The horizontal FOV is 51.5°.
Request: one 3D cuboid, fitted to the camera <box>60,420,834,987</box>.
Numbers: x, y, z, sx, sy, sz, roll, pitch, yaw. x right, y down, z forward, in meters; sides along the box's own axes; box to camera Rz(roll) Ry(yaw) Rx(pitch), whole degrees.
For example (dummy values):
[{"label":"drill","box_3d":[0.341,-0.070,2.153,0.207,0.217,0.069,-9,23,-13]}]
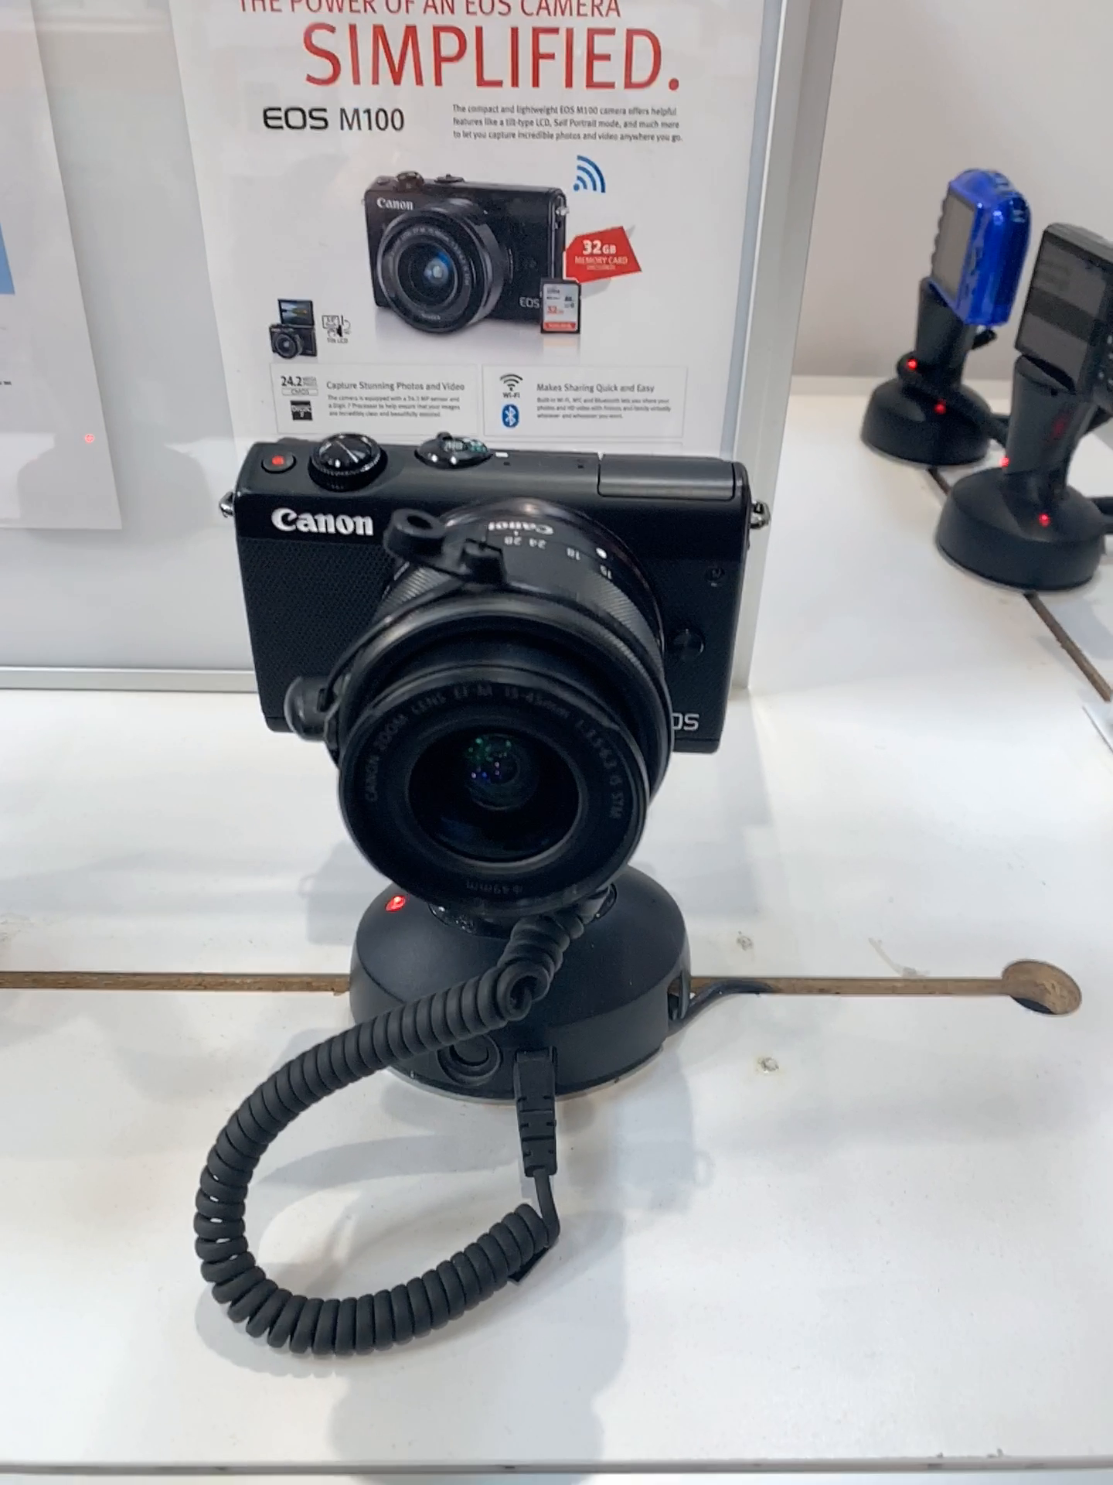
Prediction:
[{"label":"camera","box_3d":[-0.014,-0.014,0.219,0.110,0.066,0.093,3,29,3]}]
